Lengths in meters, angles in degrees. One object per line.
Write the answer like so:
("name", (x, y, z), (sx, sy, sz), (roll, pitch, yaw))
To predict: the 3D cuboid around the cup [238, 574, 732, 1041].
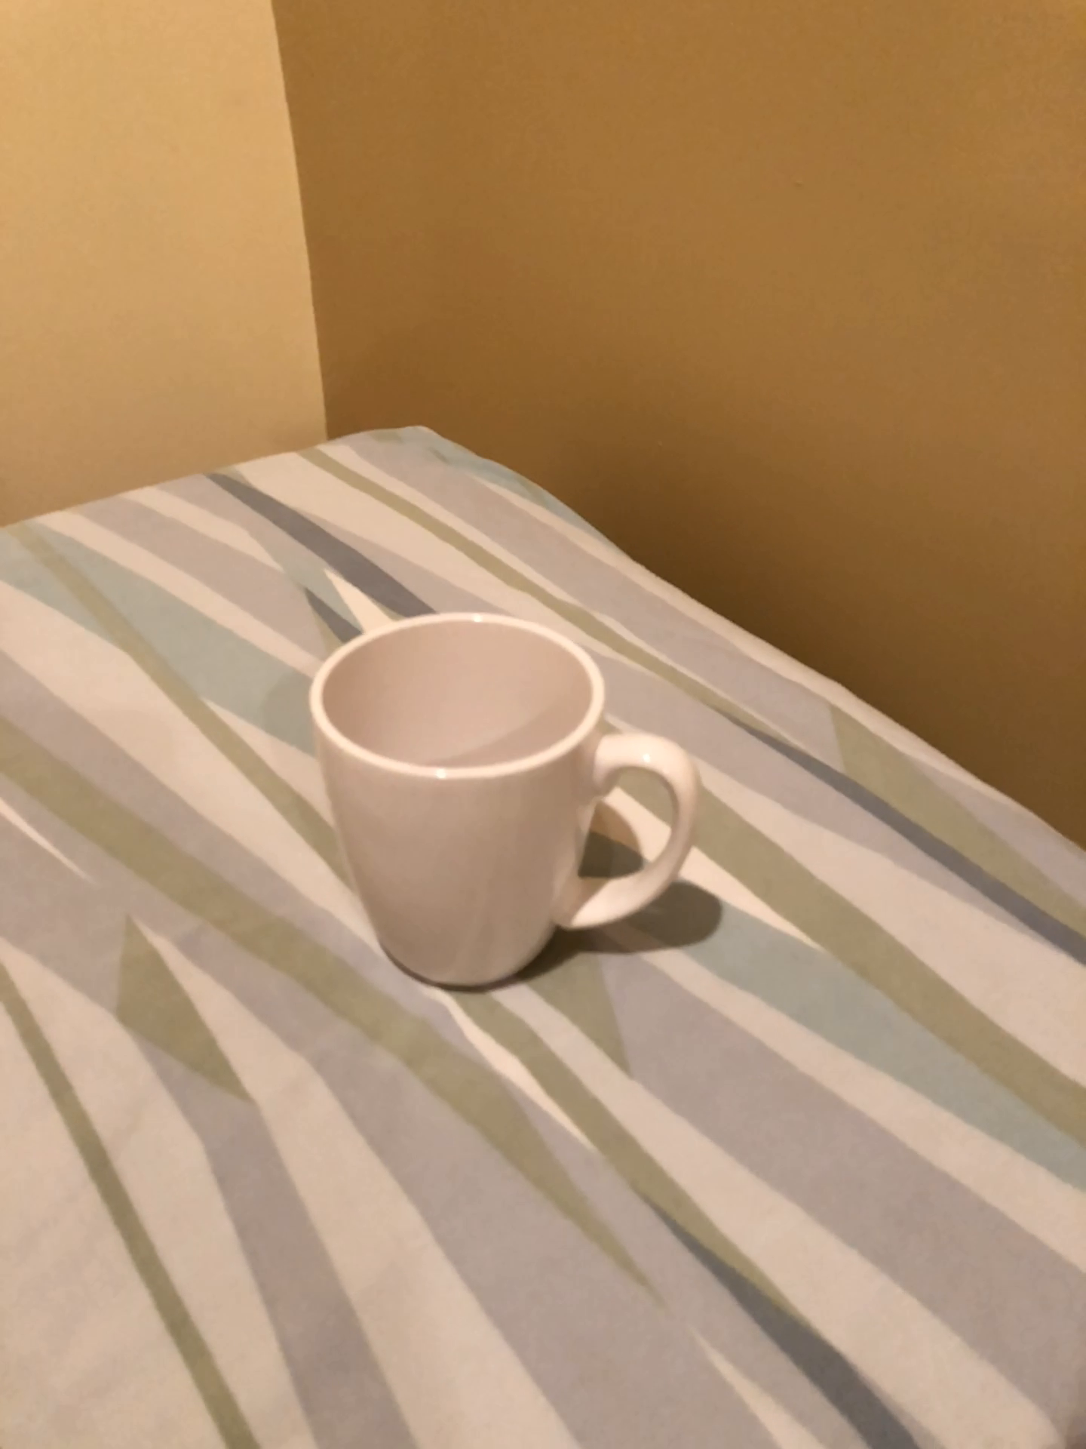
("cup", (-0.011, 0.021, 0.364), (0.120, 0.090, 0.090), (8, 37, 12))
